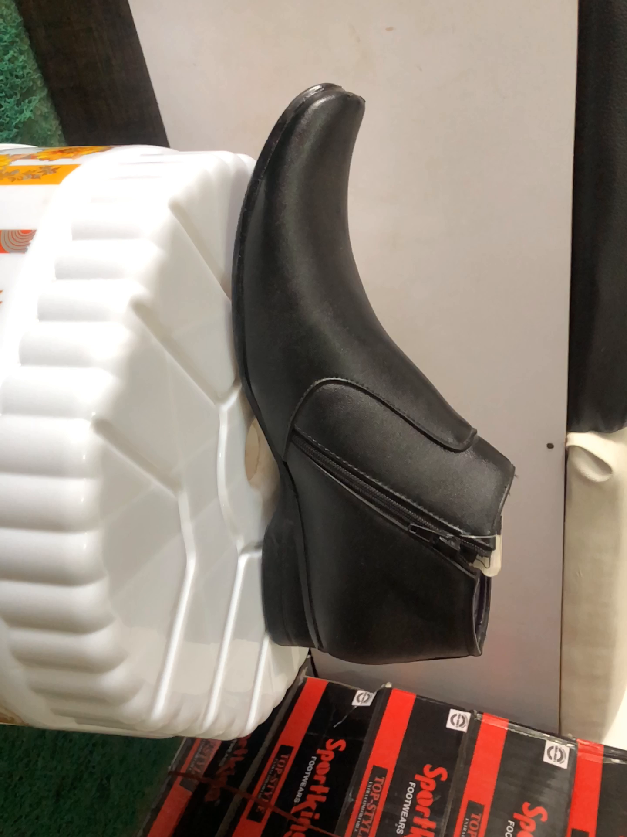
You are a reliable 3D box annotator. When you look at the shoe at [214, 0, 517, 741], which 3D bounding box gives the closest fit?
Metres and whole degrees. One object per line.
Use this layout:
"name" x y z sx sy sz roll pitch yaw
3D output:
"shoe" 0.040 -0.018 0.366 0.121 0.119 0.310 -24 114 -68
